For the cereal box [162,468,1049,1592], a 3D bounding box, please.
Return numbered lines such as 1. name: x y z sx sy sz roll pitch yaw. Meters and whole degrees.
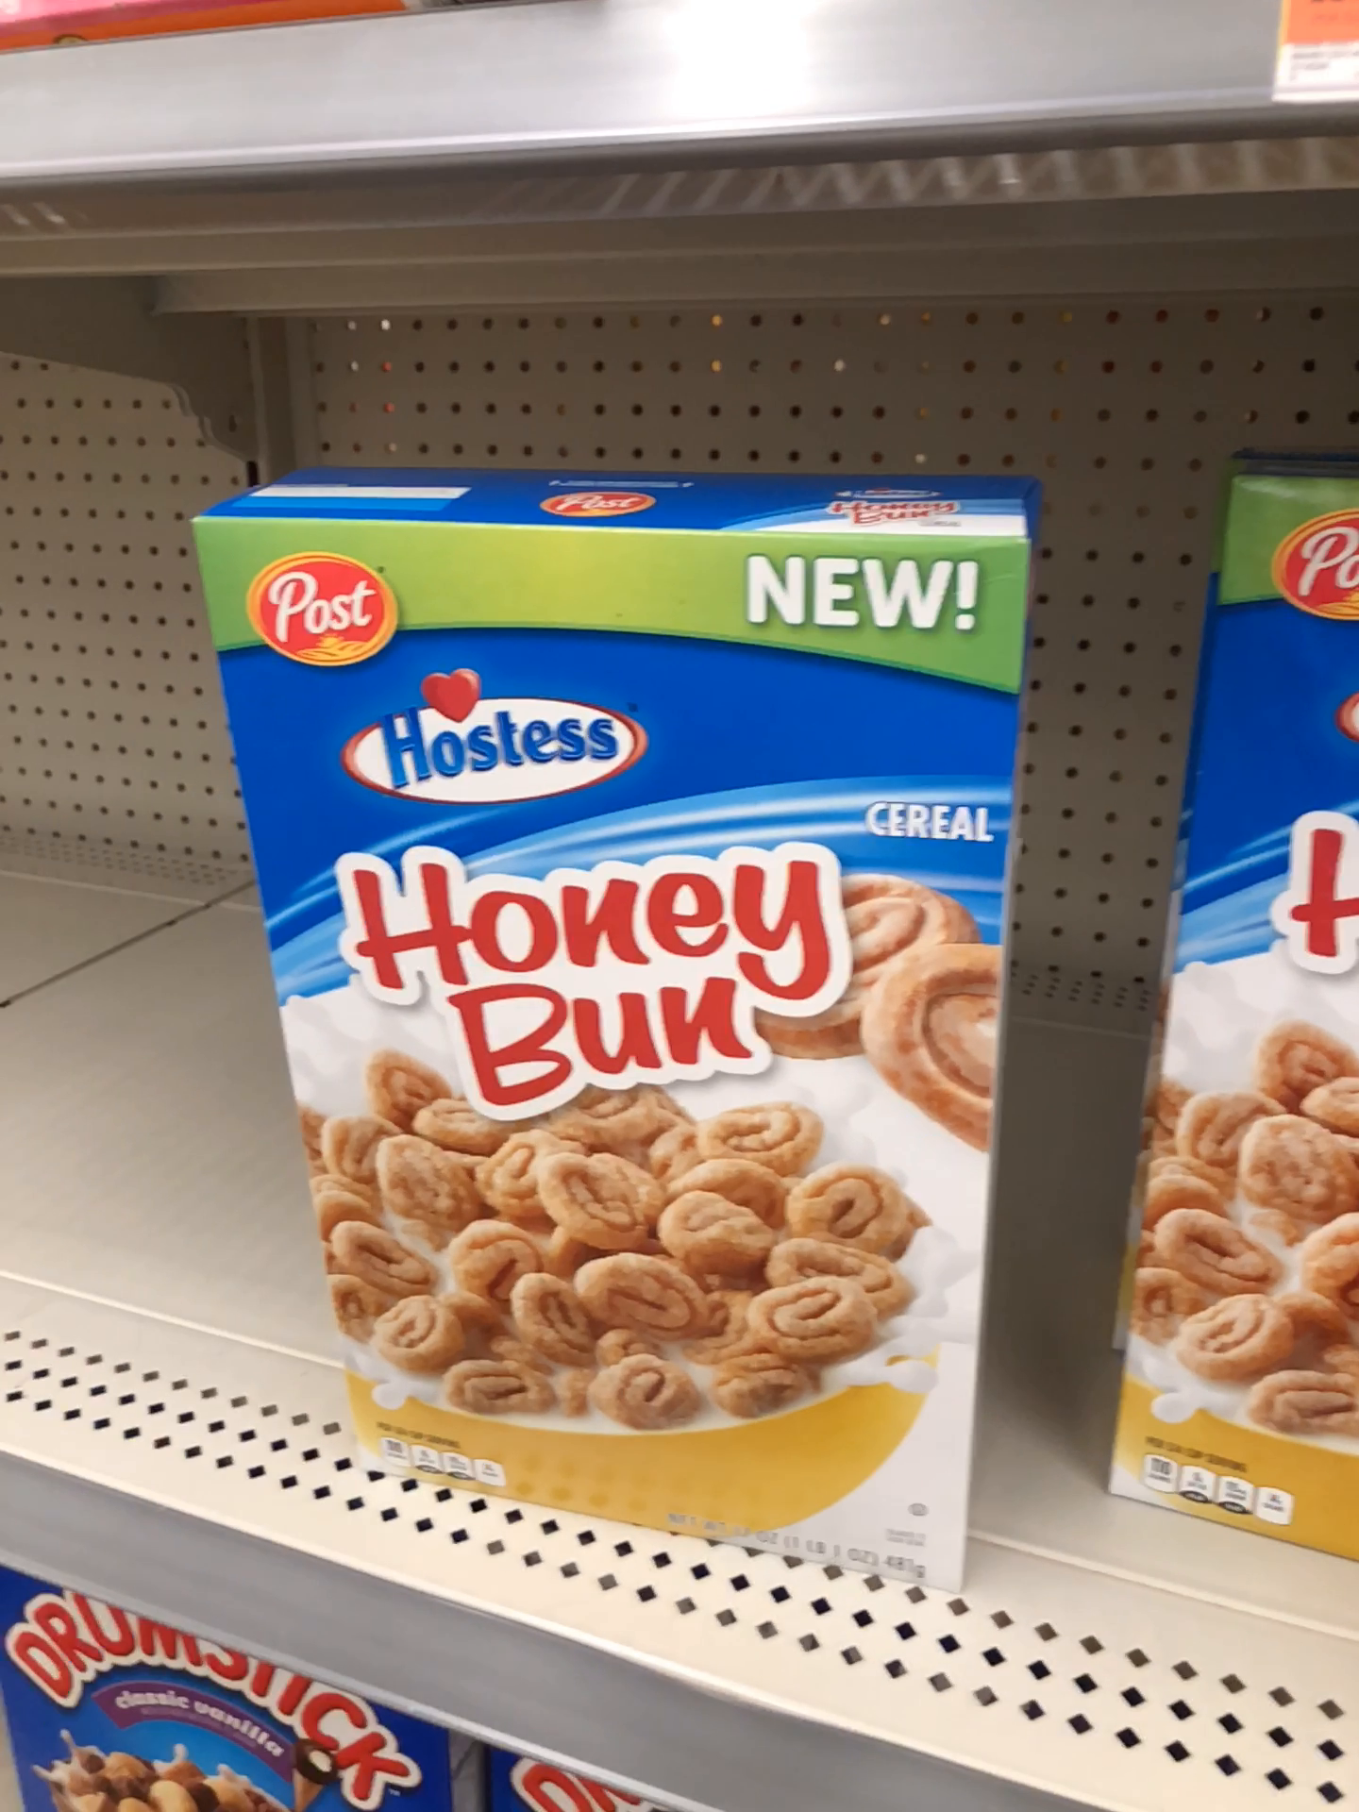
1. cereal box: -0.010 0.037 0.423 0.200 0.299 0.070 5 26 16
